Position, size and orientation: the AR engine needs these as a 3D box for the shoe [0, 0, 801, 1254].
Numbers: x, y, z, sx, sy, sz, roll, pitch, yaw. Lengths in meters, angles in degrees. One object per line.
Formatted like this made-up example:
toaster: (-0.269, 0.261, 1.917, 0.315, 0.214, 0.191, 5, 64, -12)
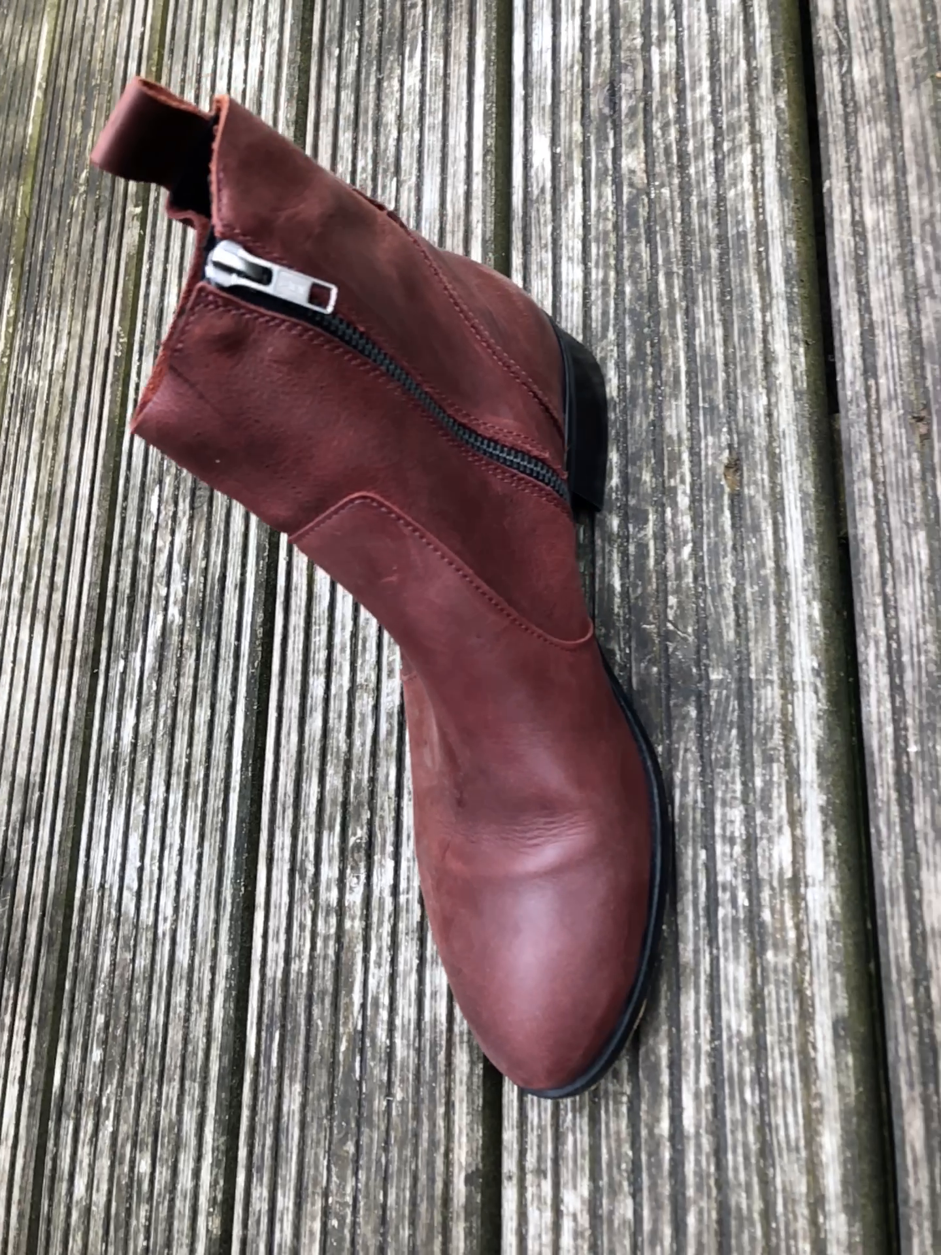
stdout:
shoe: (0.010, -0.011, 0.326, 0.090, 0.239, 0.340, -8, 74, 36)
